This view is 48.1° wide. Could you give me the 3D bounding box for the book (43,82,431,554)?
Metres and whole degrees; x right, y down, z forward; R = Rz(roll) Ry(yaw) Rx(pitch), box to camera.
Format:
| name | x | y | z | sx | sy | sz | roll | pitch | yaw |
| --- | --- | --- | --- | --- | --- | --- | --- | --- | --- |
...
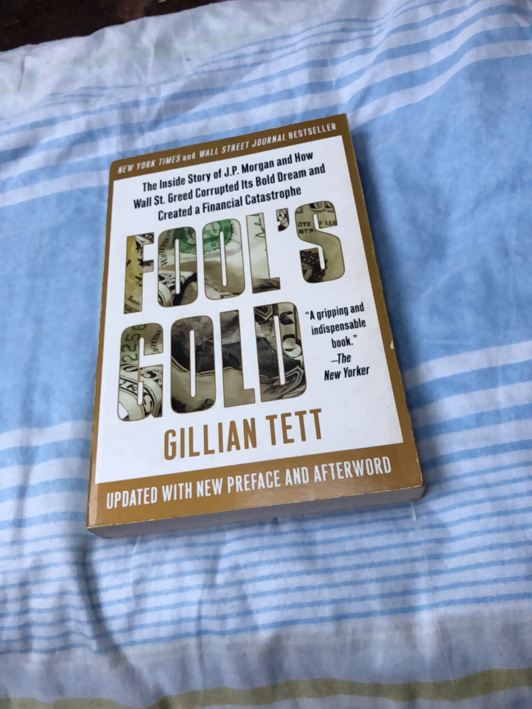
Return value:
| name | x | y | z | sx | sy | sz | roll | pitch | yaw |
| --- | --- | --- | --- | --- | --- | --- | --- | --- | --- |
| book | -0.017 | -0.030 | 0.298 | 0.150 | 0.040 | 0.230 | -9 | 59 | 8 |
